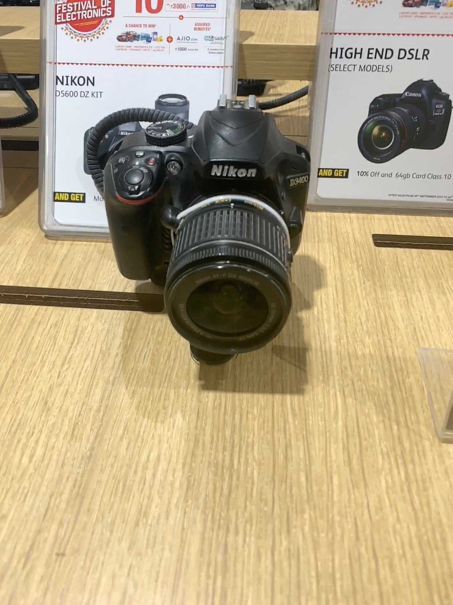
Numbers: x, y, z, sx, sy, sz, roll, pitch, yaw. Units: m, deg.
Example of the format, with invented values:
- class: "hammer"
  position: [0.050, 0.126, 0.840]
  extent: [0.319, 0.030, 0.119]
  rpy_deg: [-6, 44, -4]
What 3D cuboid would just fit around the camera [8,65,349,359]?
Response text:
- class: "camera"
  position: [-0.015, -0.051, 0.242]
  extent: [0.120, 0.100, 0.120]
  rpy_deg: [1, 42, 2]
